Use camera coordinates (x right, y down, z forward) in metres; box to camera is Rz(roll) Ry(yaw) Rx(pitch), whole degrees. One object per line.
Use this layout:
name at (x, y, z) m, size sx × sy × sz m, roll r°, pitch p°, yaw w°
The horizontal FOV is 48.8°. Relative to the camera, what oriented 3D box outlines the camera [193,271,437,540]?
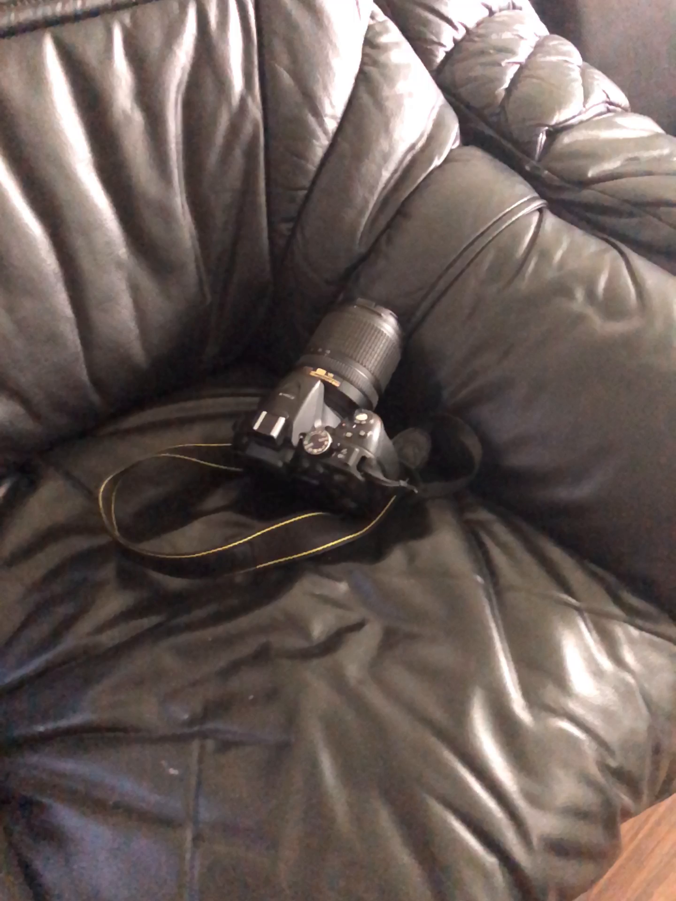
camera at (-0.011, -0.041, 0.678) m, size 0.140 × 0.130 × 0.170 m, roll 19°, pitch 66°, yaw 20°
